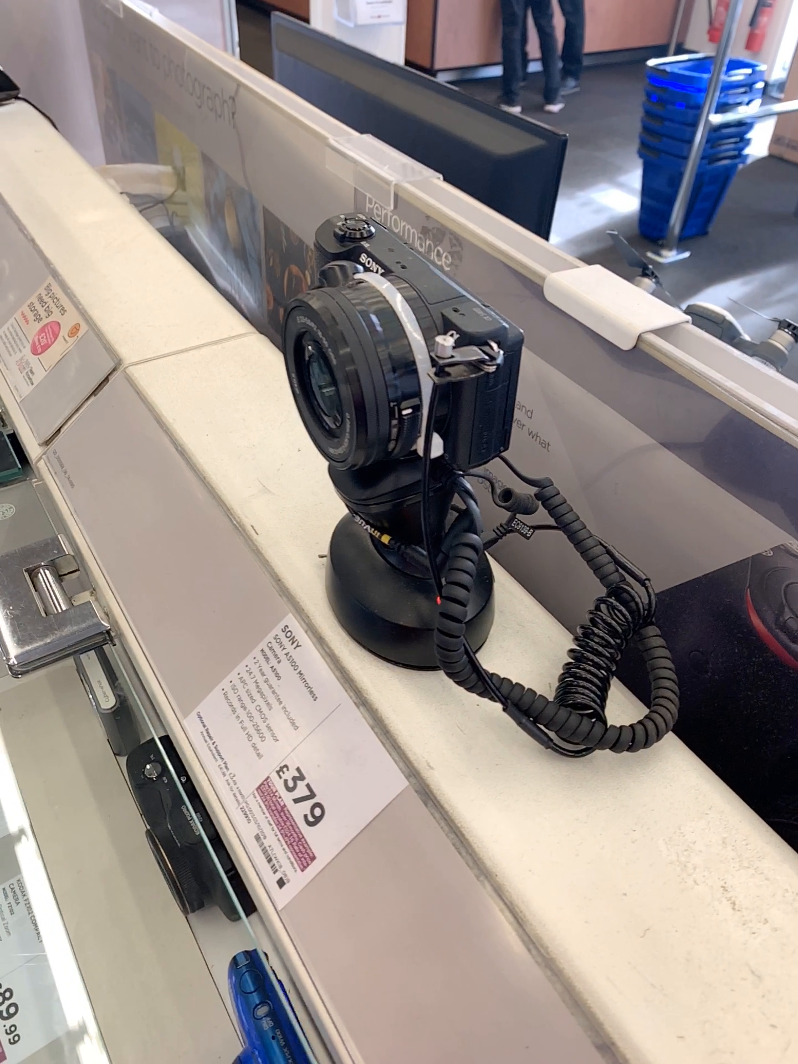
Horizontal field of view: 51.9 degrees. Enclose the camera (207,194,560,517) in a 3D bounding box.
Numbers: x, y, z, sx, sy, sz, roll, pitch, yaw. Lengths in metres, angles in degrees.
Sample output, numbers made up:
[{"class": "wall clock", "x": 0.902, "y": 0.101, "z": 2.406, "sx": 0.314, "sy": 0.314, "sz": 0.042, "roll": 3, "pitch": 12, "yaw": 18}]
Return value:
[{"class": "camera", "x": -0.012, "y": -0.075, "z": 0.317, "sx": 0.080, "sy": 0.059, "sz": 0.121, "roll": -19, "pitch": 46, "yaw": -23}]
